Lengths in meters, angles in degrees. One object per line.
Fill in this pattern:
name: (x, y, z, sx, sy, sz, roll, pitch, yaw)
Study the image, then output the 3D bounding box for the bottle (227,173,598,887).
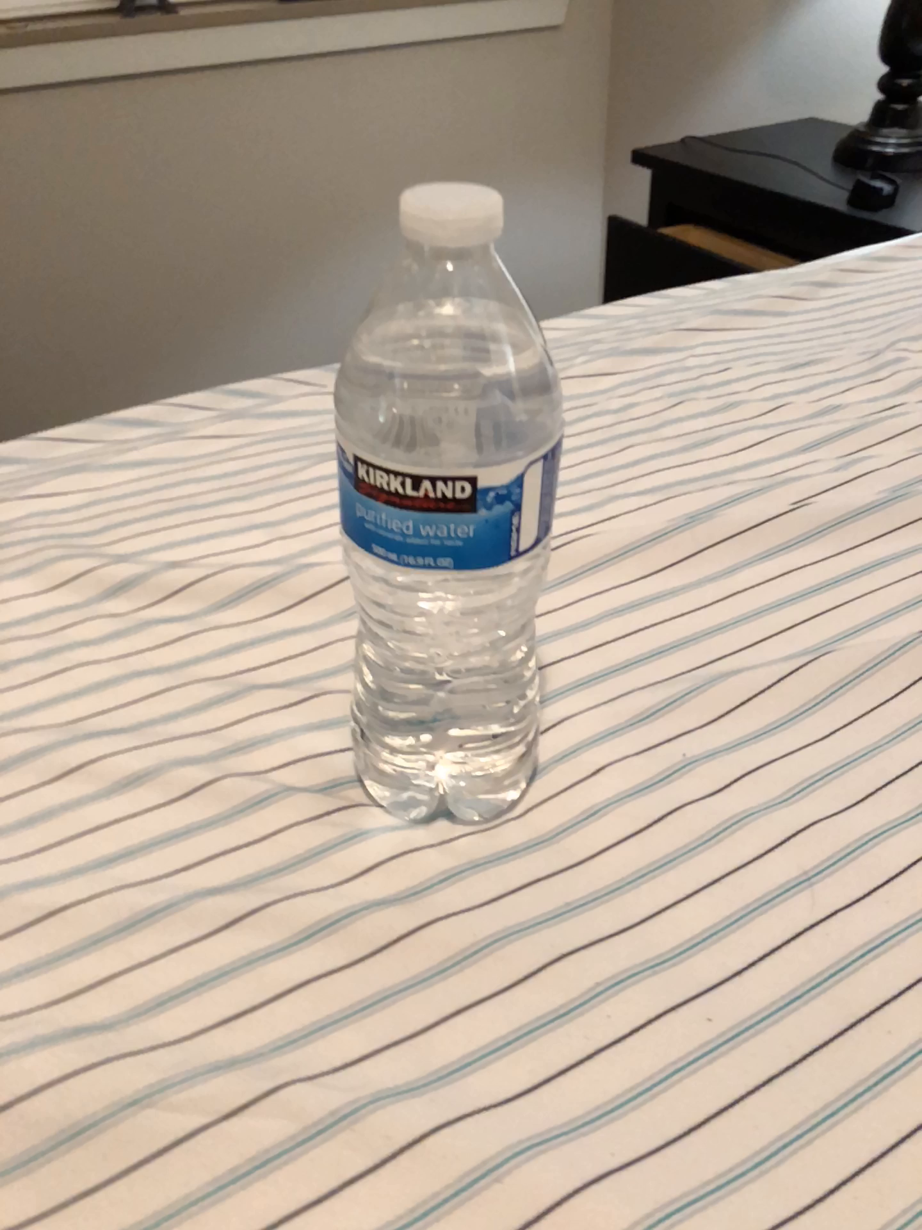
bottle: (-0.006, -0.019, 0.312, 0.070, 0.199, 0.070, -1, 36, 1)
